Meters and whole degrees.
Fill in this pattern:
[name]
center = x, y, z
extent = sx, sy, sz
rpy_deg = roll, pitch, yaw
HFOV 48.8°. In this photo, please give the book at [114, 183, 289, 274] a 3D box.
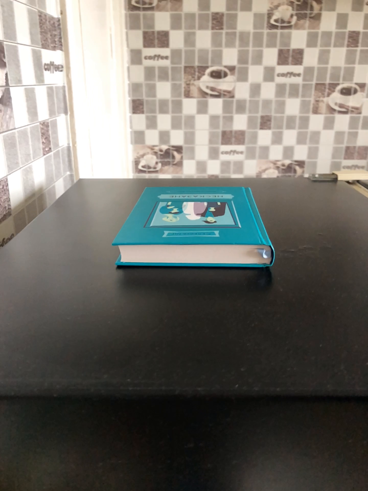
[book]
center = 0.019, -0.031, 0.459
extent = 0.151, 0.030, 0.221
rpy_deg = 0, 22, 2
